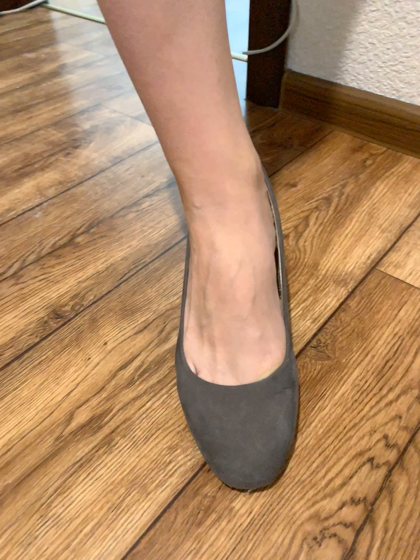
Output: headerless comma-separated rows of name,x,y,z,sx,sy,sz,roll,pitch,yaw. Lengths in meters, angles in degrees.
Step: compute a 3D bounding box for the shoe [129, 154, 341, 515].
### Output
shoe,0.015,0.021,0.284,0.083,0.109,0.211,-2,44,3
